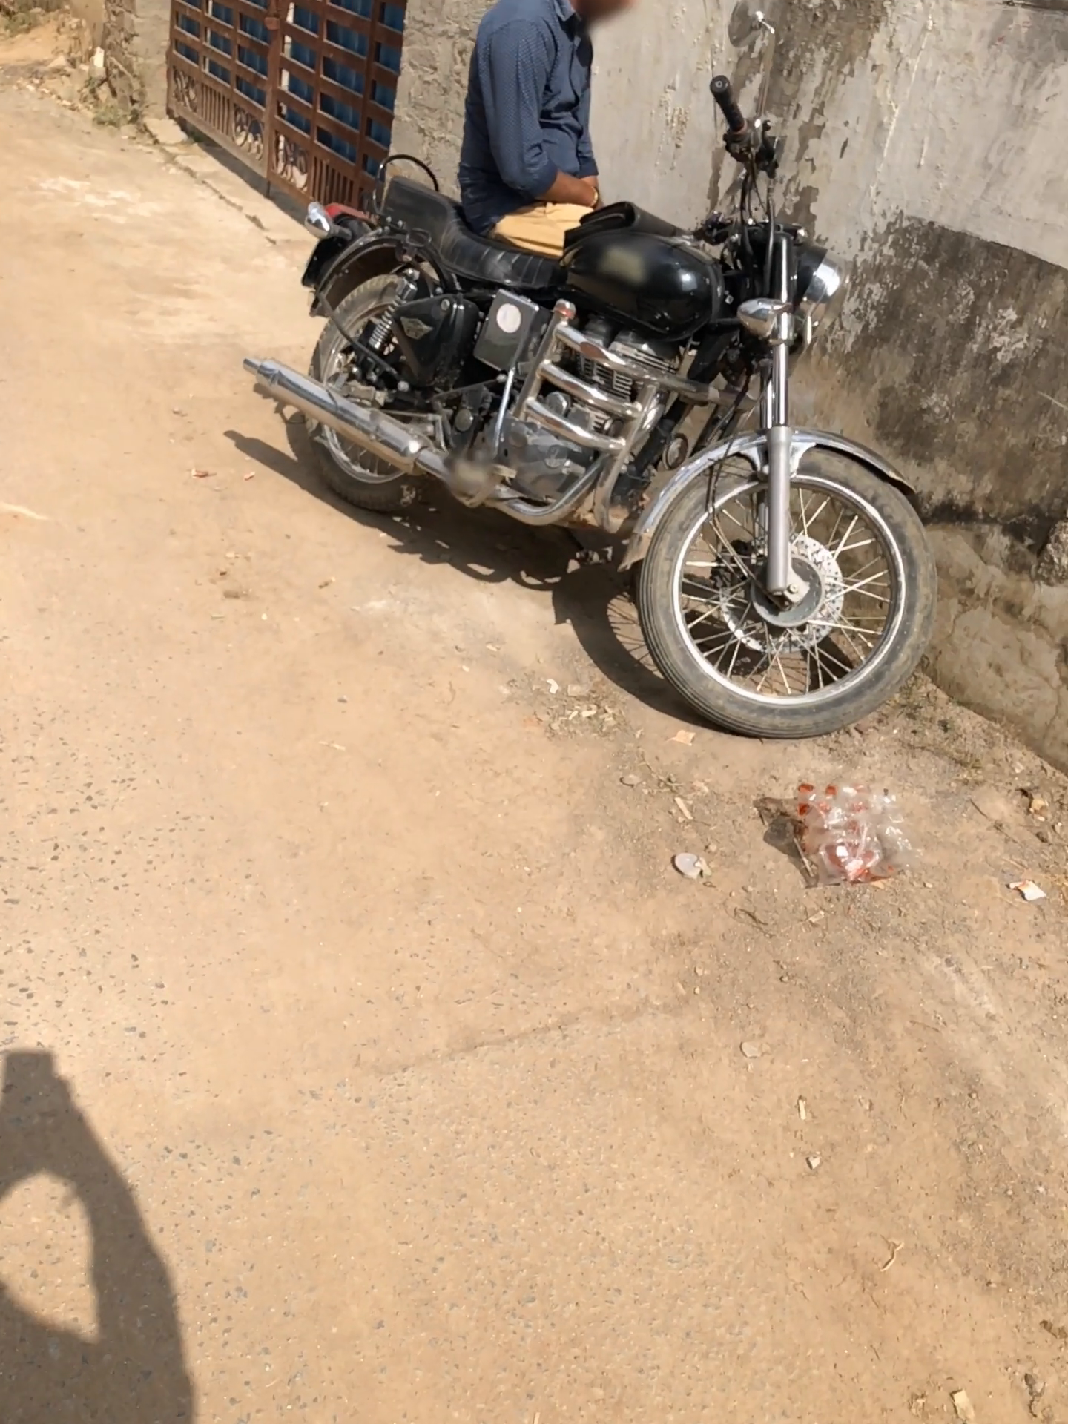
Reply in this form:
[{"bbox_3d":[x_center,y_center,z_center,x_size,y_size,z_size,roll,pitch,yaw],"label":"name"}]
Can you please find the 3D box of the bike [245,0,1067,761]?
[{"bbox_3d":[0.313,-0.956,2.976,1.931,1.316,0.886,31,35,30],"label":"bike"}]
